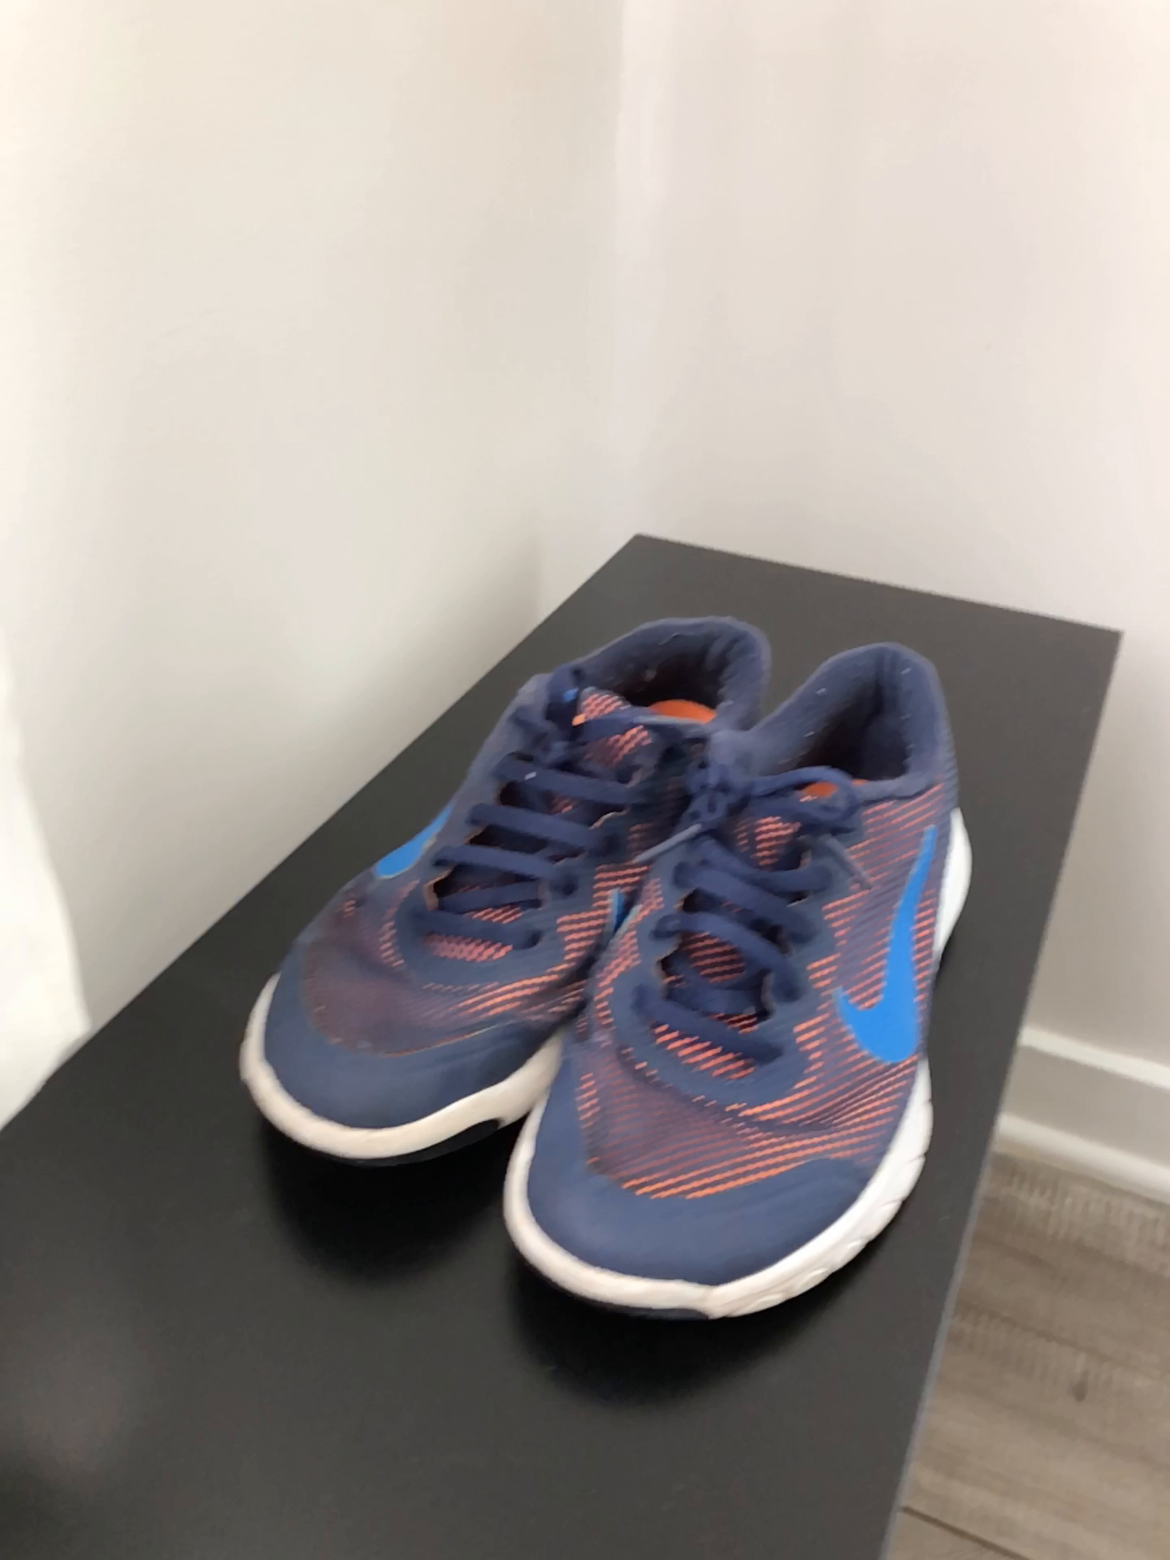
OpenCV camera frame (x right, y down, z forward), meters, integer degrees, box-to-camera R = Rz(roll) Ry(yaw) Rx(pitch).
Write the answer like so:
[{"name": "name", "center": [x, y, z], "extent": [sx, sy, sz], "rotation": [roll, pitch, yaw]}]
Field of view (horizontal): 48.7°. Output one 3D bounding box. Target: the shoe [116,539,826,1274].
[{"name": "shoe", "center": [-0.016, 0.016, 0.430], "extent": [0.100, 0.089, 0.261], "rotation": [17, 36, 22]}]

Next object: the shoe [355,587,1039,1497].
[{"name": "shoe", "center": [0.052, 0.045, 0.386], "extent": [0.120, 0.089, 0.261], "rotation": [13, 35, 17]}]
